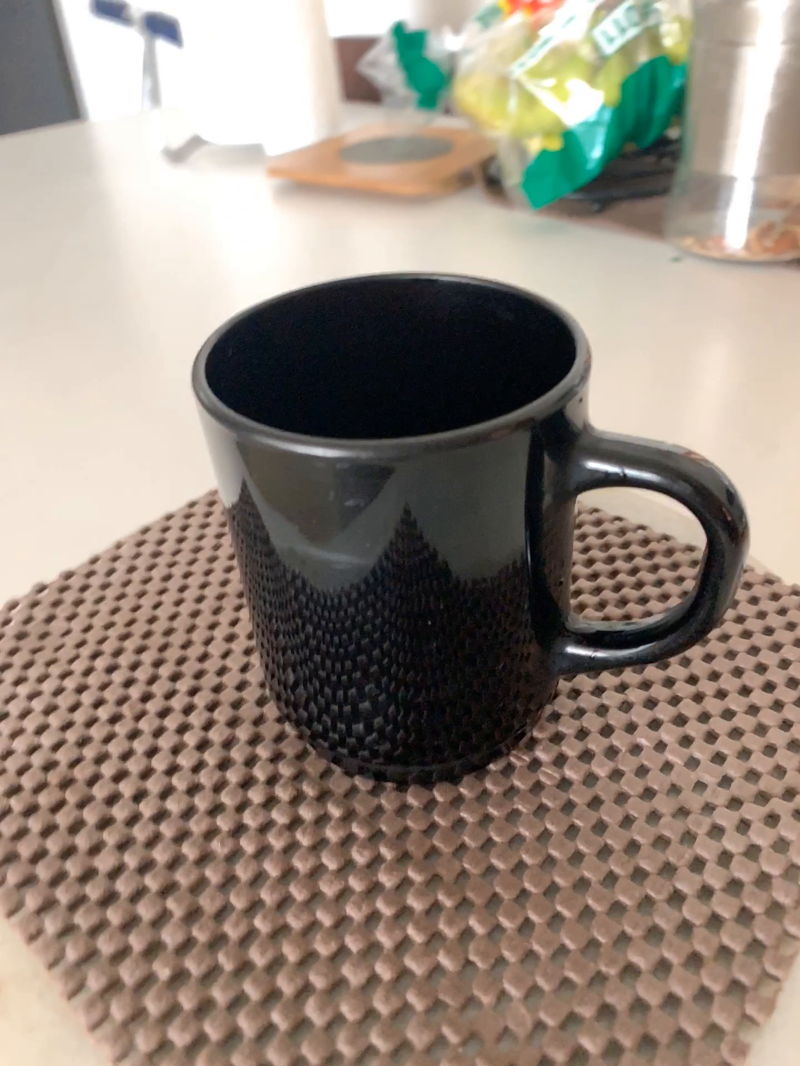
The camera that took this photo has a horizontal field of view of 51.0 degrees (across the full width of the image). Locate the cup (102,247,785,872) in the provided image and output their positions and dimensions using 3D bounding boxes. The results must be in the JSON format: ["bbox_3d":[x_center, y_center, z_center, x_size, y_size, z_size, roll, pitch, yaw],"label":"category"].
[{"bbox_3d":[0.015,-0.002,0.172,0.100,0.080,0.077,11,40,20],"label":"cup"}]
